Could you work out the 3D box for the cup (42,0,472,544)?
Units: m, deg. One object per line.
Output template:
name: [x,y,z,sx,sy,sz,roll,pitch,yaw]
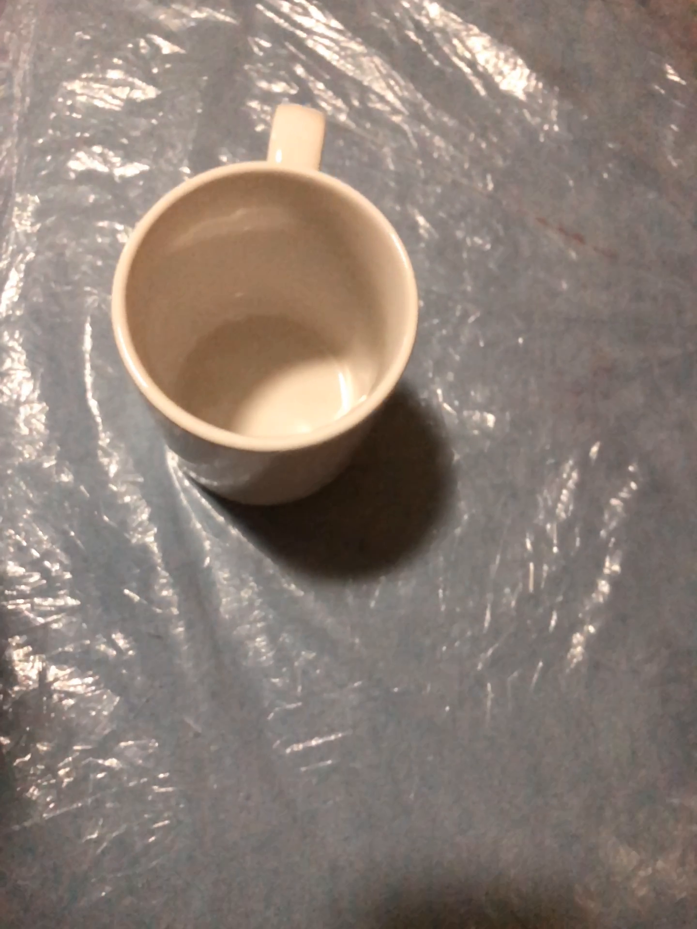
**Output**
cup: [-0.029,-0.054,0.276,0.100,0.110,0.140,10,77,-7]
